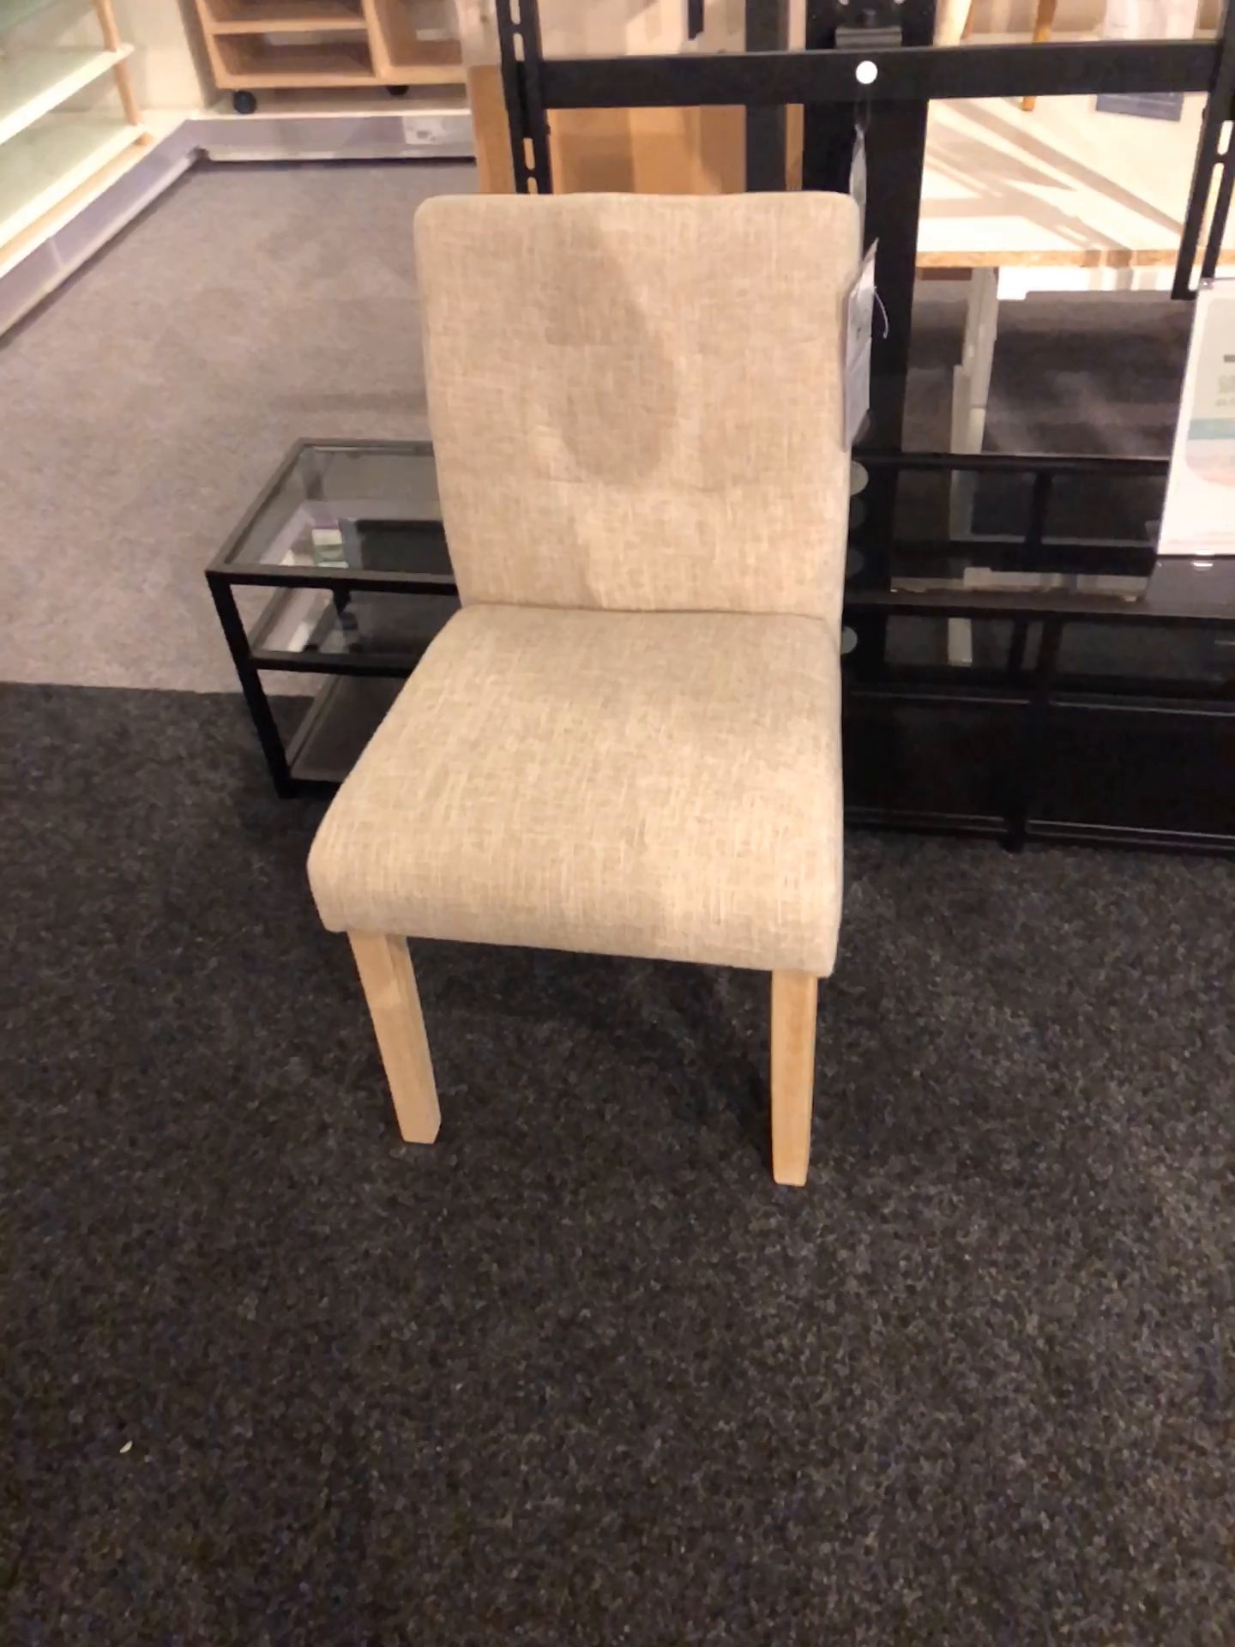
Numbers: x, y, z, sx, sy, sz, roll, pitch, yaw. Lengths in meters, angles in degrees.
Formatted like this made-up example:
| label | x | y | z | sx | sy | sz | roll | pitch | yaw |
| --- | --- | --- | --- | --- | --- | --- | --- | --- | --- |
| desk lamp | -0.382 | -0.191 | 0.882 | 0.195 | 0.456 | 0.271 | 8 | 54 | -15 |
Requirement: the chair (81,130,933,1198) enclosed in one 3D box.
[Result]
| label | x | y | z | sx | sy | sz | roll | pitch | yaw |
| --- | --- | --- | --- | --- | --- | --- | --- | --- | --- |
| chair | -0.011 | -0.139 | 1.346 | 0.550 | 0.855 | 0.564 | 5 | 44 | 10 |
